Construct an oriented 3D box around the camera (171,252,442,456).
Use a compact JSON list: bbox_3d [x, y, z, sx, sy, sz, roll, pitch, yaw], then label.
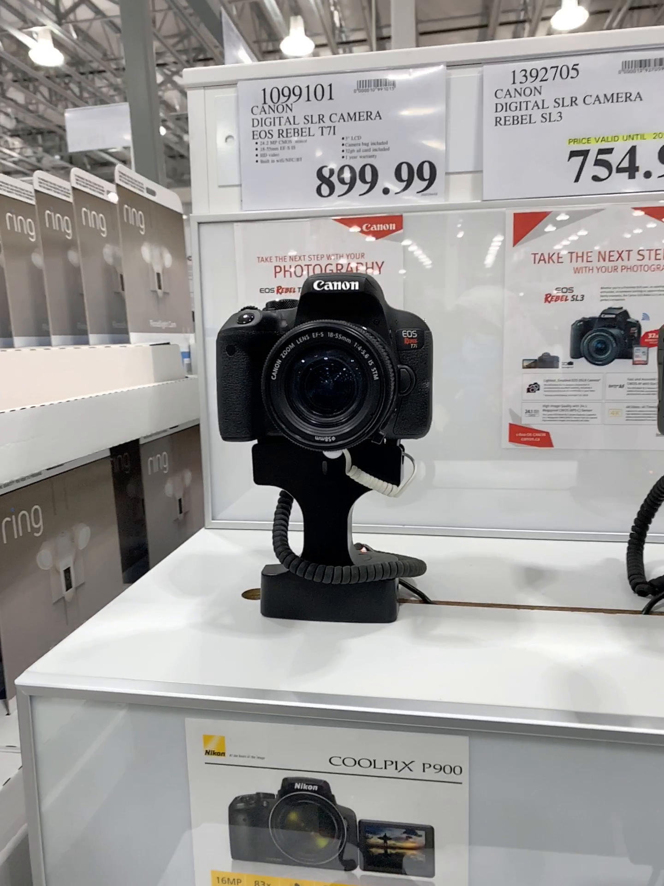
[{"bbox_3d":[-0.006,-0.051,0.401,0.132,0.096,0.129,-1,8,6],"label":"camera"}]
